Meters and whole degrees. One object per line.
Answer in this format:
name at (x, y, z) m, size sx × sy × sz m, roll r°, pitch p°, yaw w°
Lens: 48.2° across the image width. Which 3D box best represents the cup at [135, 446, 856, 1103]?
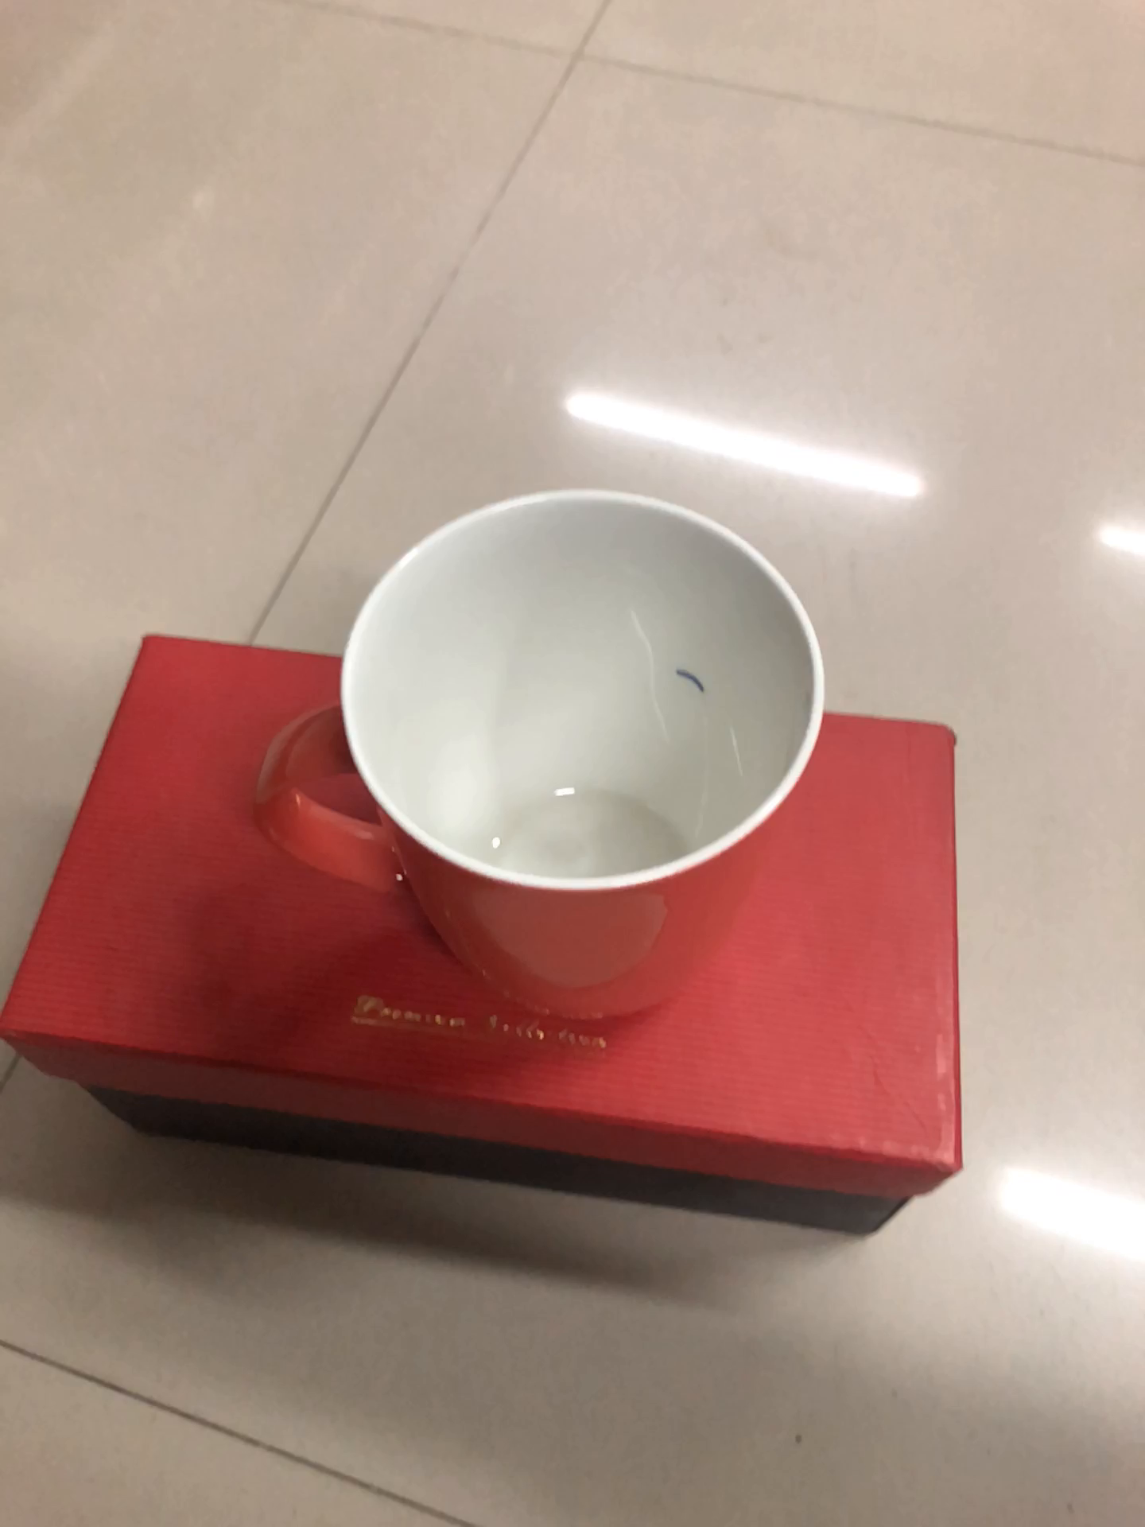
cup at (-0.008, 0.006, 0.255) m, size 0.110 × 0.090 × 0.090 m, roll 4°, pitch 60°, yaw 3°
